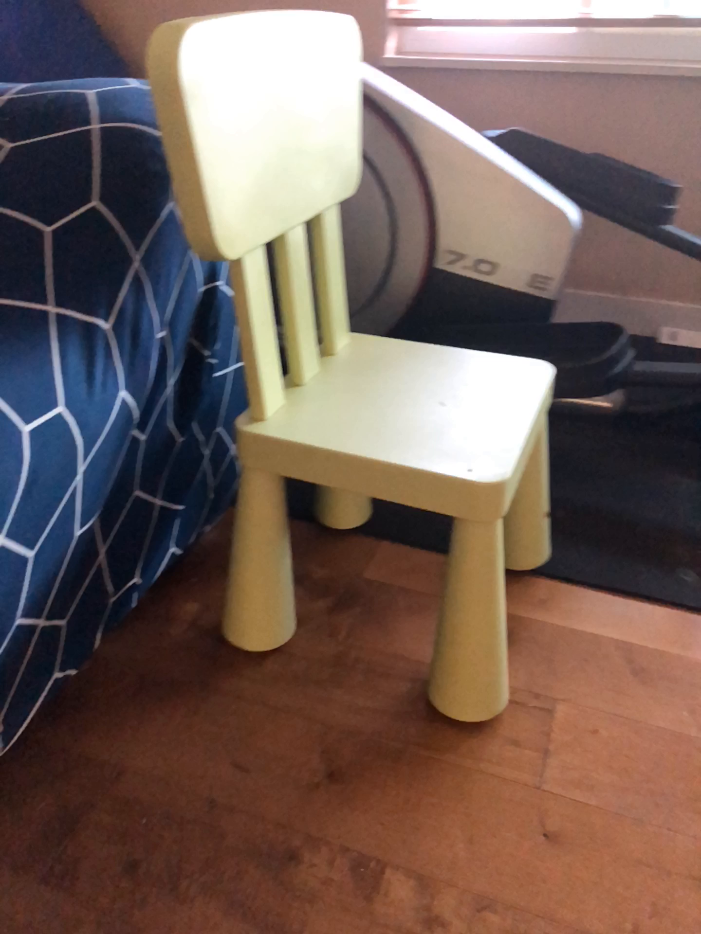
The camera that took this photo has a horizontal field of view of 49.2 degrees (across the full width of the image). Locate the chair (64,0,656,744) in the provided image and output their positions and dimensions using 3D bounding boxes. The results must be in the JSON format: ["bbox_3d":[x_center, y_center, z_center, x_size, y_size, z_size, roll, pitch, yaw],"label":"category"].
[{"bbox_3d":[0.045,-0.130,0.821,0.410,0.636,0.392,10,31,16],"label":"chair"}]
